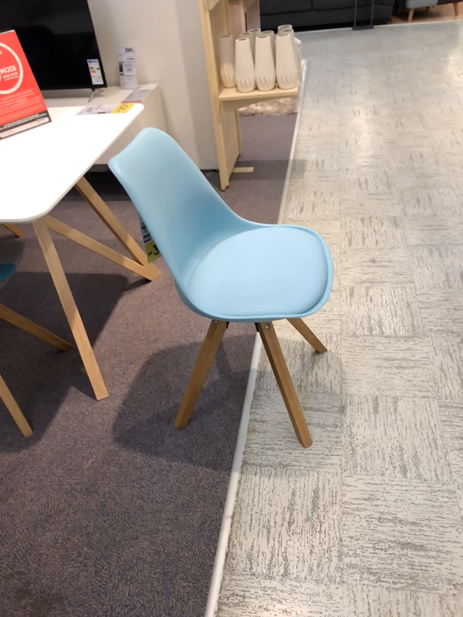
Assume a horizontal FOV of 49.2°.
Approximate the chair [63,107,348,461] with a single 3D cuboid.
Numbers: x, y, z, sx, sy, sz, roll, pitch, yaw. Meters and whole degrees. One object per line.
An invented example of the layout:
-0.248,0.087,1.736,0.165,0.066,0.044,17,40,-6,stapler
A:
0.013,-0.074,1.441,0.560,0.795,0.544,4,38,13,chair
